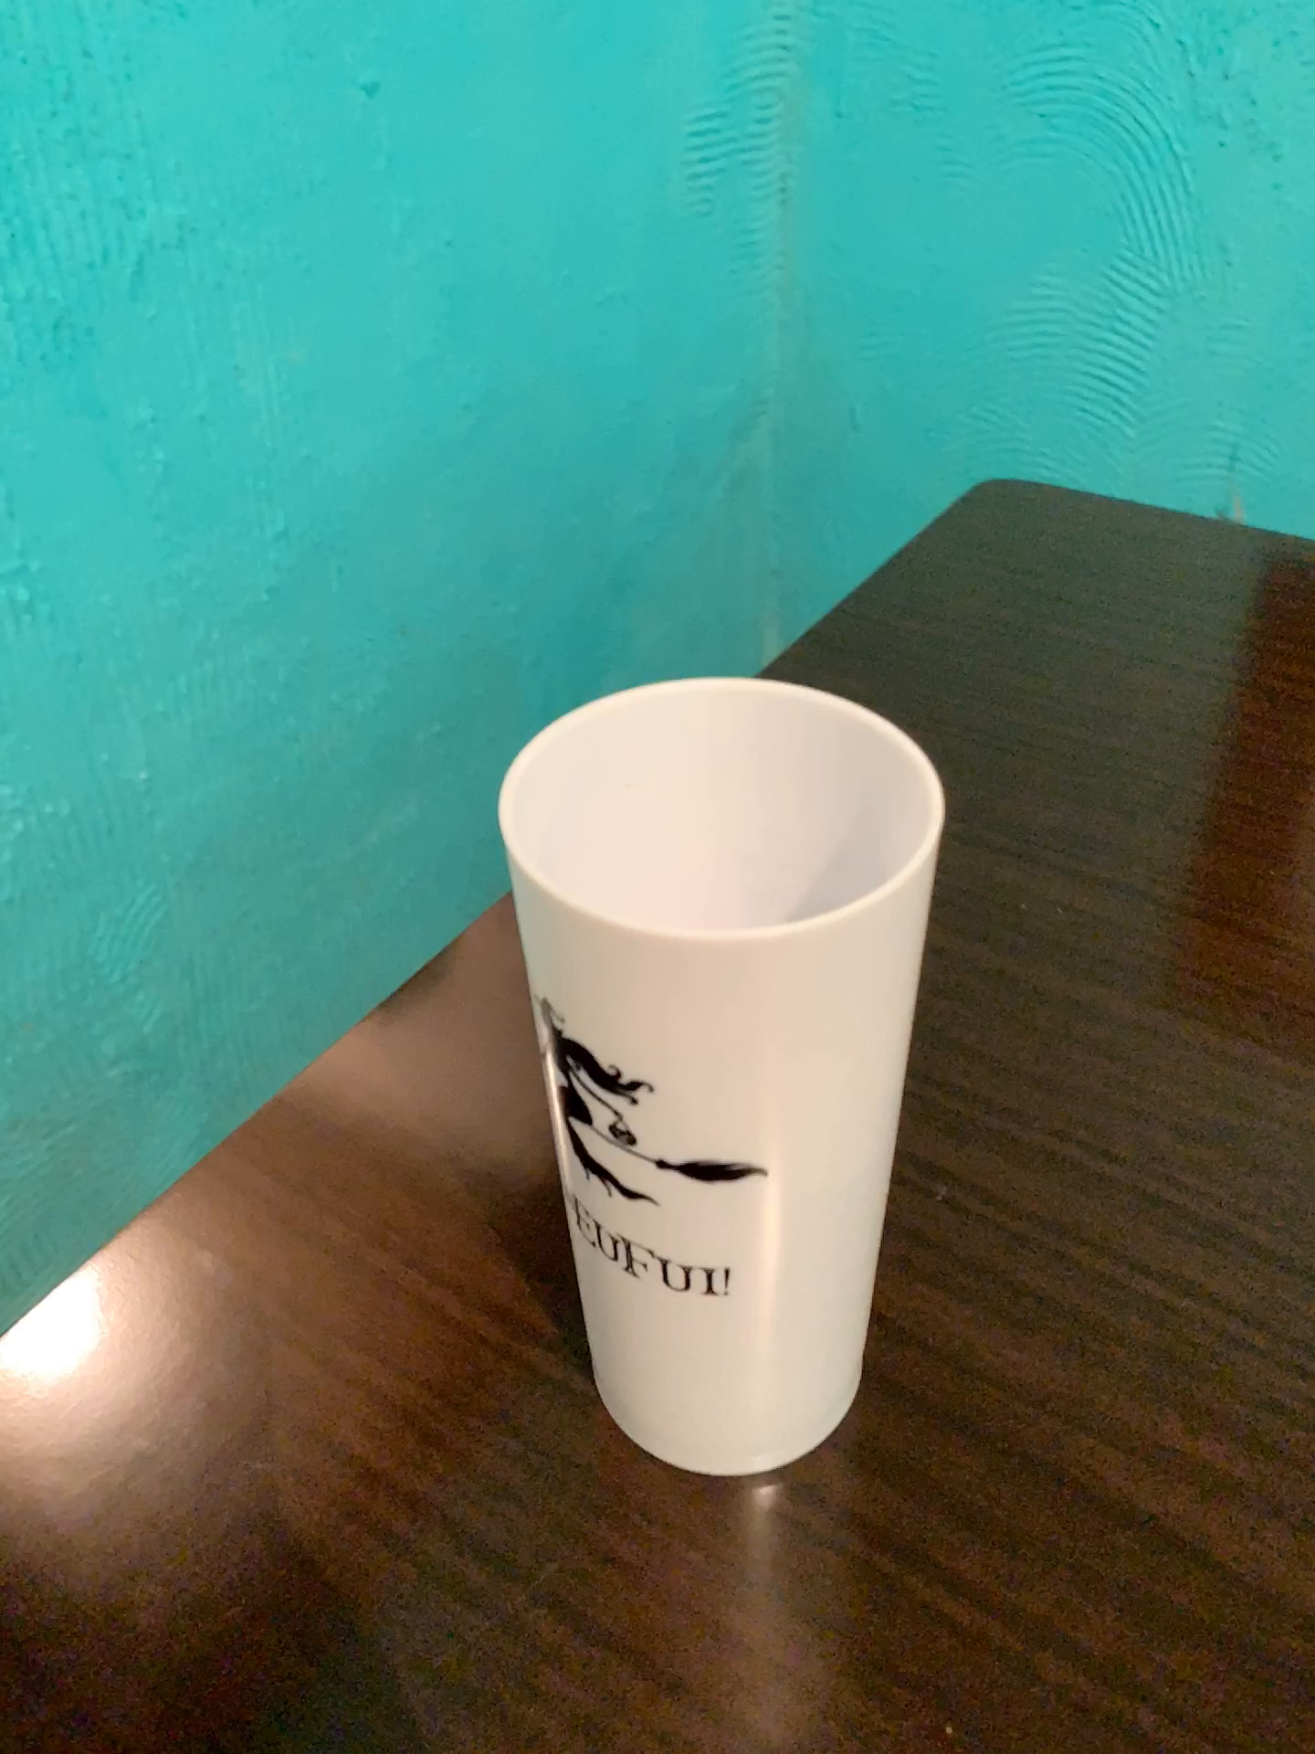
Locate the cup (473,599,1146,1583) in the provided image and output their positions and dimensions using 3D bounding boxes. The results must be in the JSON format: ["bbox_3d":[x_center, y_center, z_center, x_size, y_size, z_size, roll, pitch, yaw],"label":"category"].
[{"bbox_3d":[0.025,0.041,0.241,0.070,0.149,0.070,-1,39,1],"label":"cup"}]
